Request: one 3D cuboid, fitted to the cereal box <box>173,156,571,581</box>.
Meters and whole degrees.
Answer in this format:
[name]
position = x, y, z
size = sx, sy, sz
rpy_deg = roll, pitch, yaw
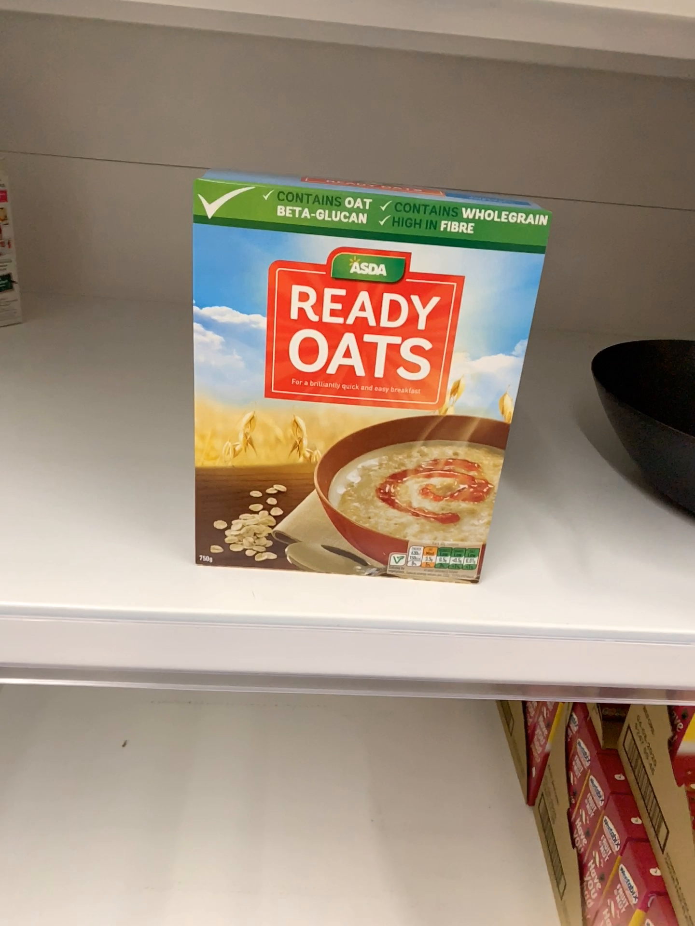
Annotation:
[cereal box]
position = 0.003, -0.057, 0.485
size = 0.220, 0.258, 0.081
rpy_deg = 4, 26, -3
